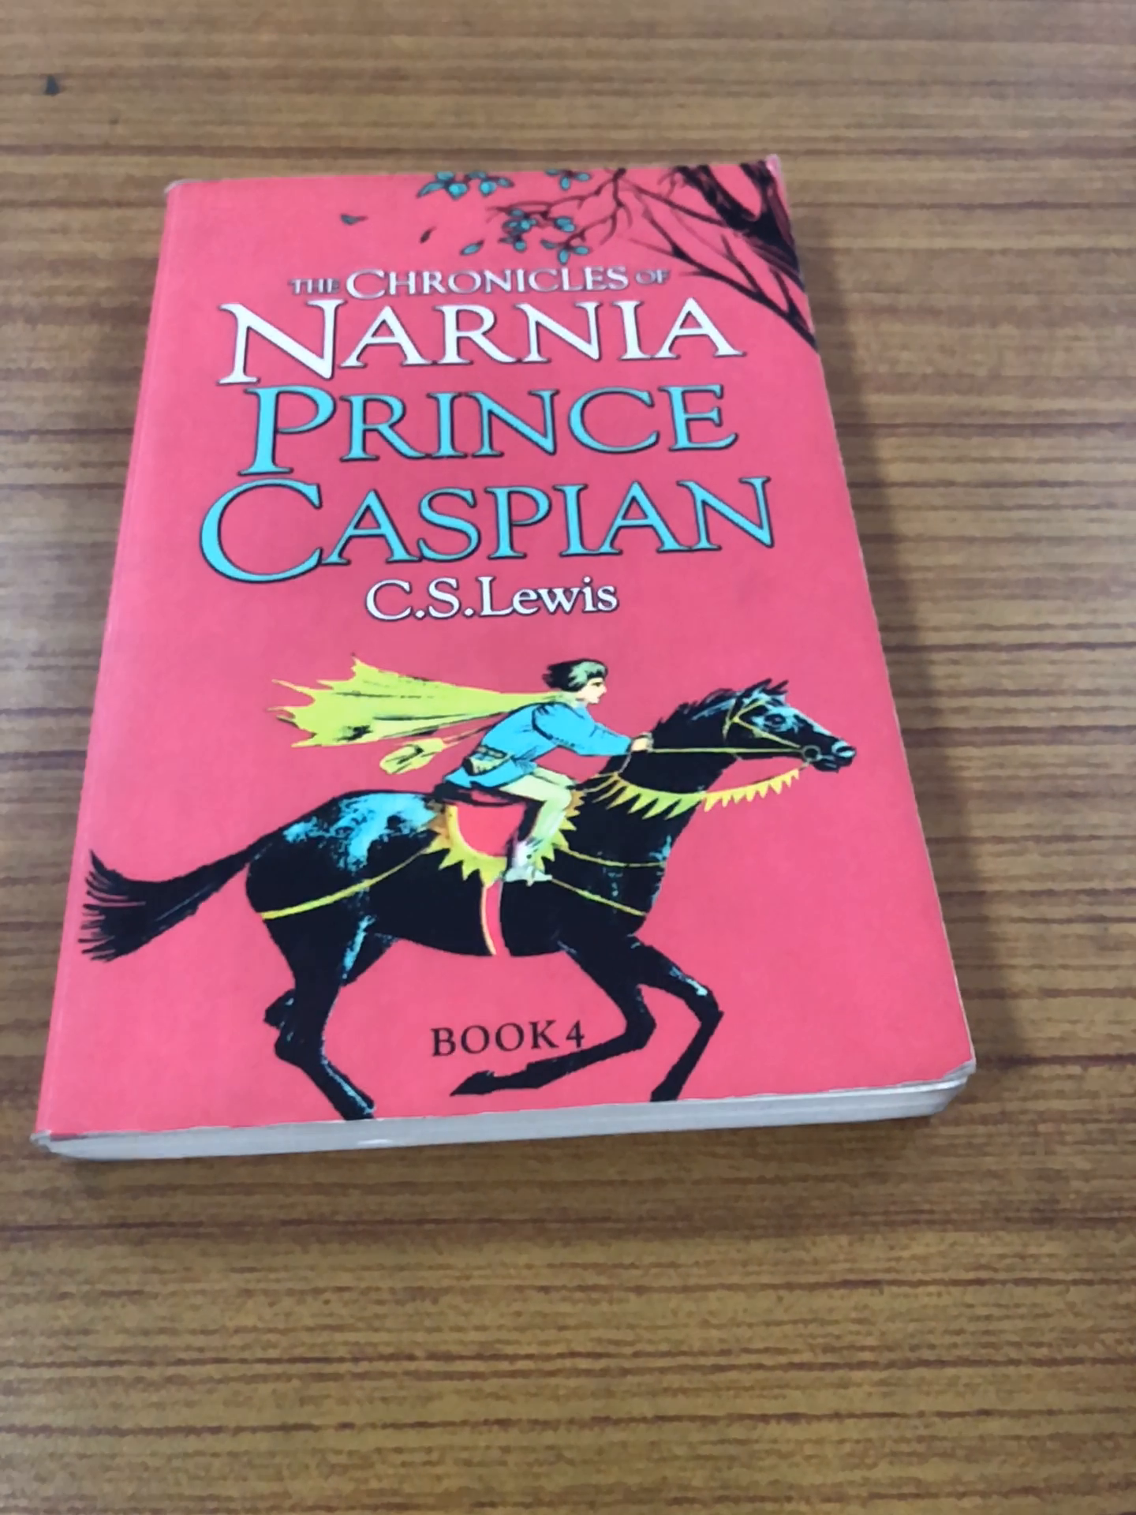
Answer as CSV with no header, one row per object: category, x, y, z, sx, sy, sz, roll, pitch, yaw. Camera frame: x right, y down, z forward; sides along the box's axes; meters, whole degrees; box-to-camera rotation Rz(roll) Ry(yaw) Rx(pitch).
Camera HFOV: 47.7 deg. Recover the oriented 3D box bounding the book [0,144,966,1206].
book,-0.019,-0.029,0.219,0.130,0.030,0.190,-2,61,-2
